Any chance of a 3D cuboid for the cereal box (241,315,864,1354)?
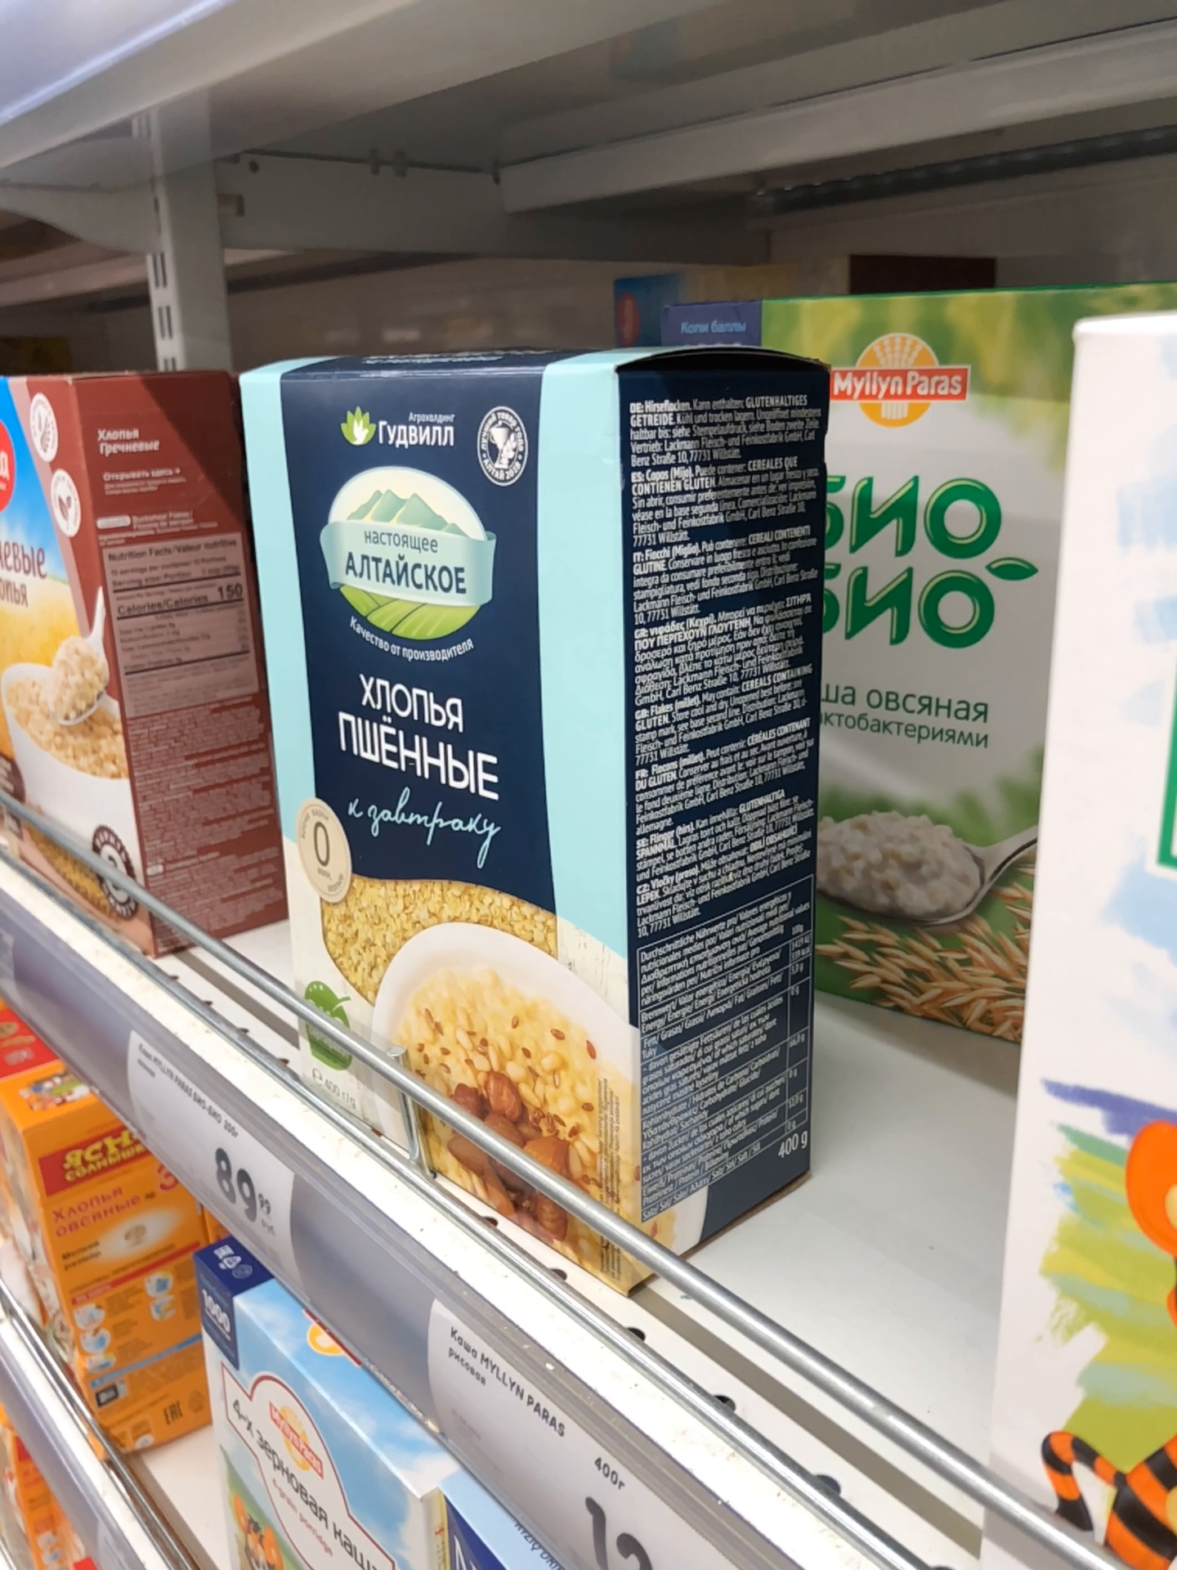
[{"bbox_3d":[-0.011,0.001,0.304,0.060,0.199,0.130,-16,22,-40],"label":"cereal box"}]
